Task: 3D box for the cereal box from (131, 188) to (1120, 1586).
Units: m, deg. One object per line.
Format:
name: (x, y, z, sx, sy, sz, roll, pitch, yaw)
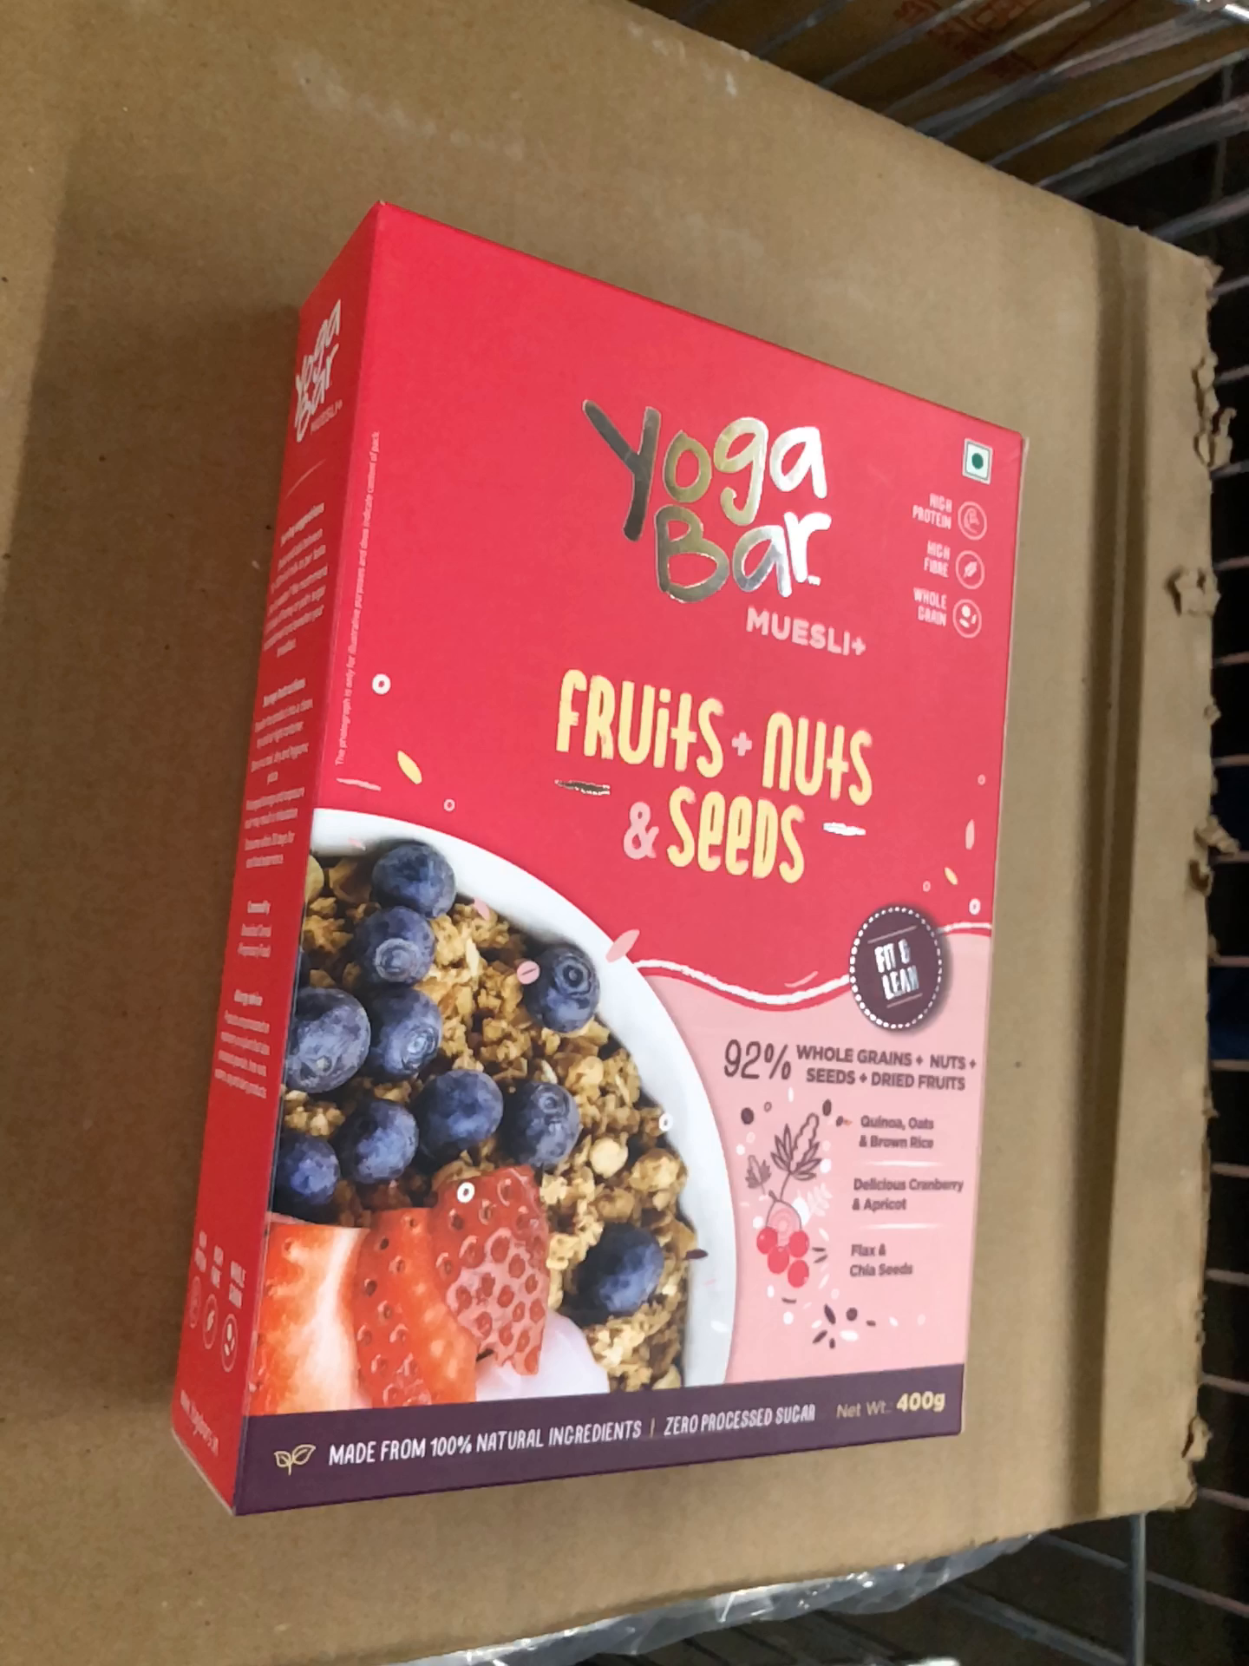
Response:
cereal box: (0.009, 0.015, 0.277, 0.170, 0.060, 0.210, 8, 85, -30)
